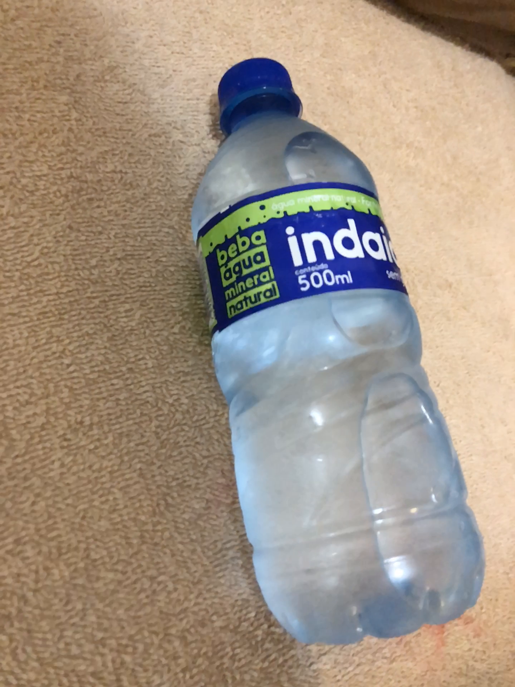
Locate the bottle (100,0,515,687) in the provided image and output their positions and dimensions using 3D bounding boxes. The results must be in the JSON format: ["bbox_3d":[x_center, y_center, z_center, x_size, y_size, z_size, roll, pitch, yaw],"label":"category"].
[{"bbox_3d":[0.014,-0.013,0.183,0.080,0.050,0.210,-4,70,-33],"label":"bottle"}]
